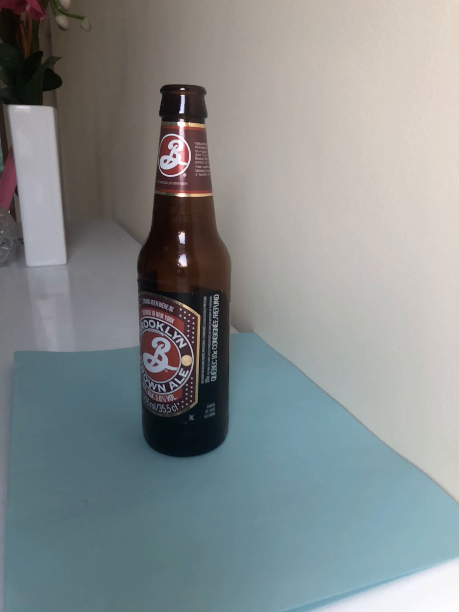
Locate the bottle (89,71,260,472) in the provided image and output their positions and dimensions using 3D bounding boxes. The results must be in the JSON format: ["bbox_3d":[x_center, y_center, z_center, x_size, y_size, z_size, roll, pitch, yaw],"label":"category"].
[{"bbox_3d":[-0.031,-0.021,0.328,0.070,0.229,0.070,1,17,0],"label":"bottle"}]
